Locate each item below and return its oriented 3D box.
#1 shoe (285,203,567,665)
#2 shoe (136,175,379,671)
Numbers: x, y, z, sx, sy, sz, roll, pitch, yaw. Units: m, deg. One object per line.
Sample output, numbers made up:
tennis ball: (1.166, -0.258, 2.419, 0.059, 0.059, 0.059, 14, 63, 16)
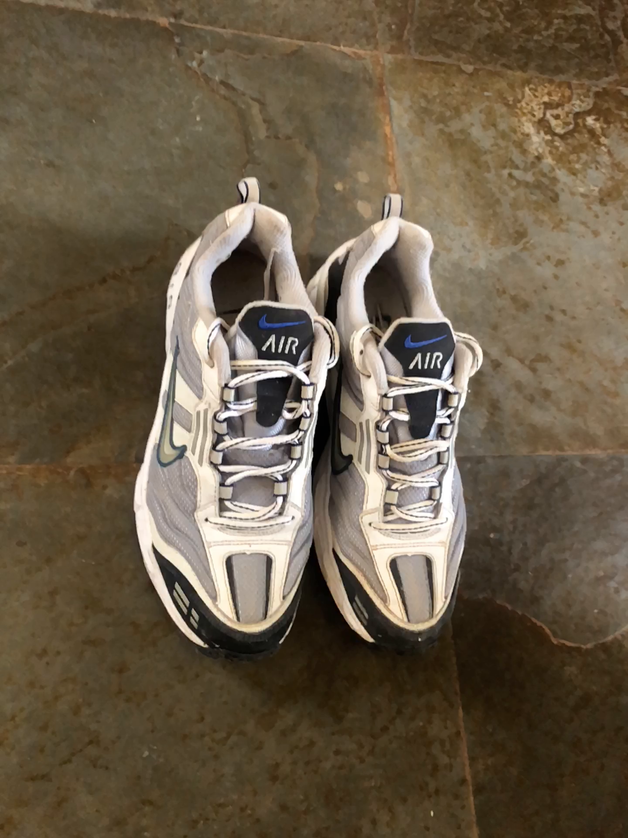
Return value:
shoe: (0.056, 0.011, 0.442, 0.110, 0.110, 0.261, 0, 72, -16)
shoe: (-0.048, 0.006, 0.418, 0.110, 0.119, 0.261, 0, 72, -16)
